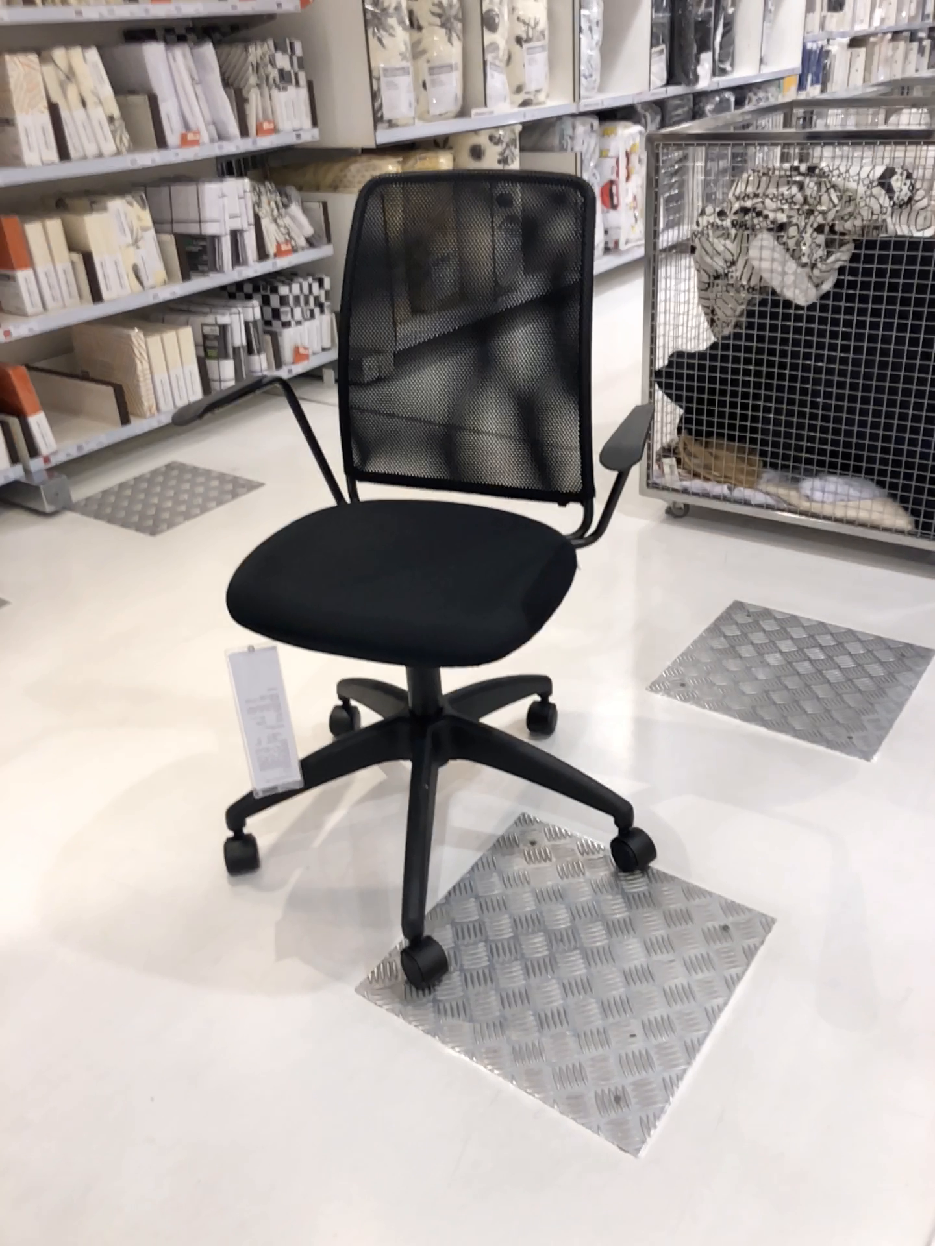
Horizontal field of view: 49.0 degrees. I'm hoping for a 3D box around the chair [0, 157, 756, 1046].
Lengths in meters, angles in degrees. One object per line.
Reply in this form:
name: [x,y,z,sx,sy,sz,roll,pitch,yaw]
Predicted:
chair: [-0.031,-0.102,1.305,0.630,0.814,0.695,7,31,20]
